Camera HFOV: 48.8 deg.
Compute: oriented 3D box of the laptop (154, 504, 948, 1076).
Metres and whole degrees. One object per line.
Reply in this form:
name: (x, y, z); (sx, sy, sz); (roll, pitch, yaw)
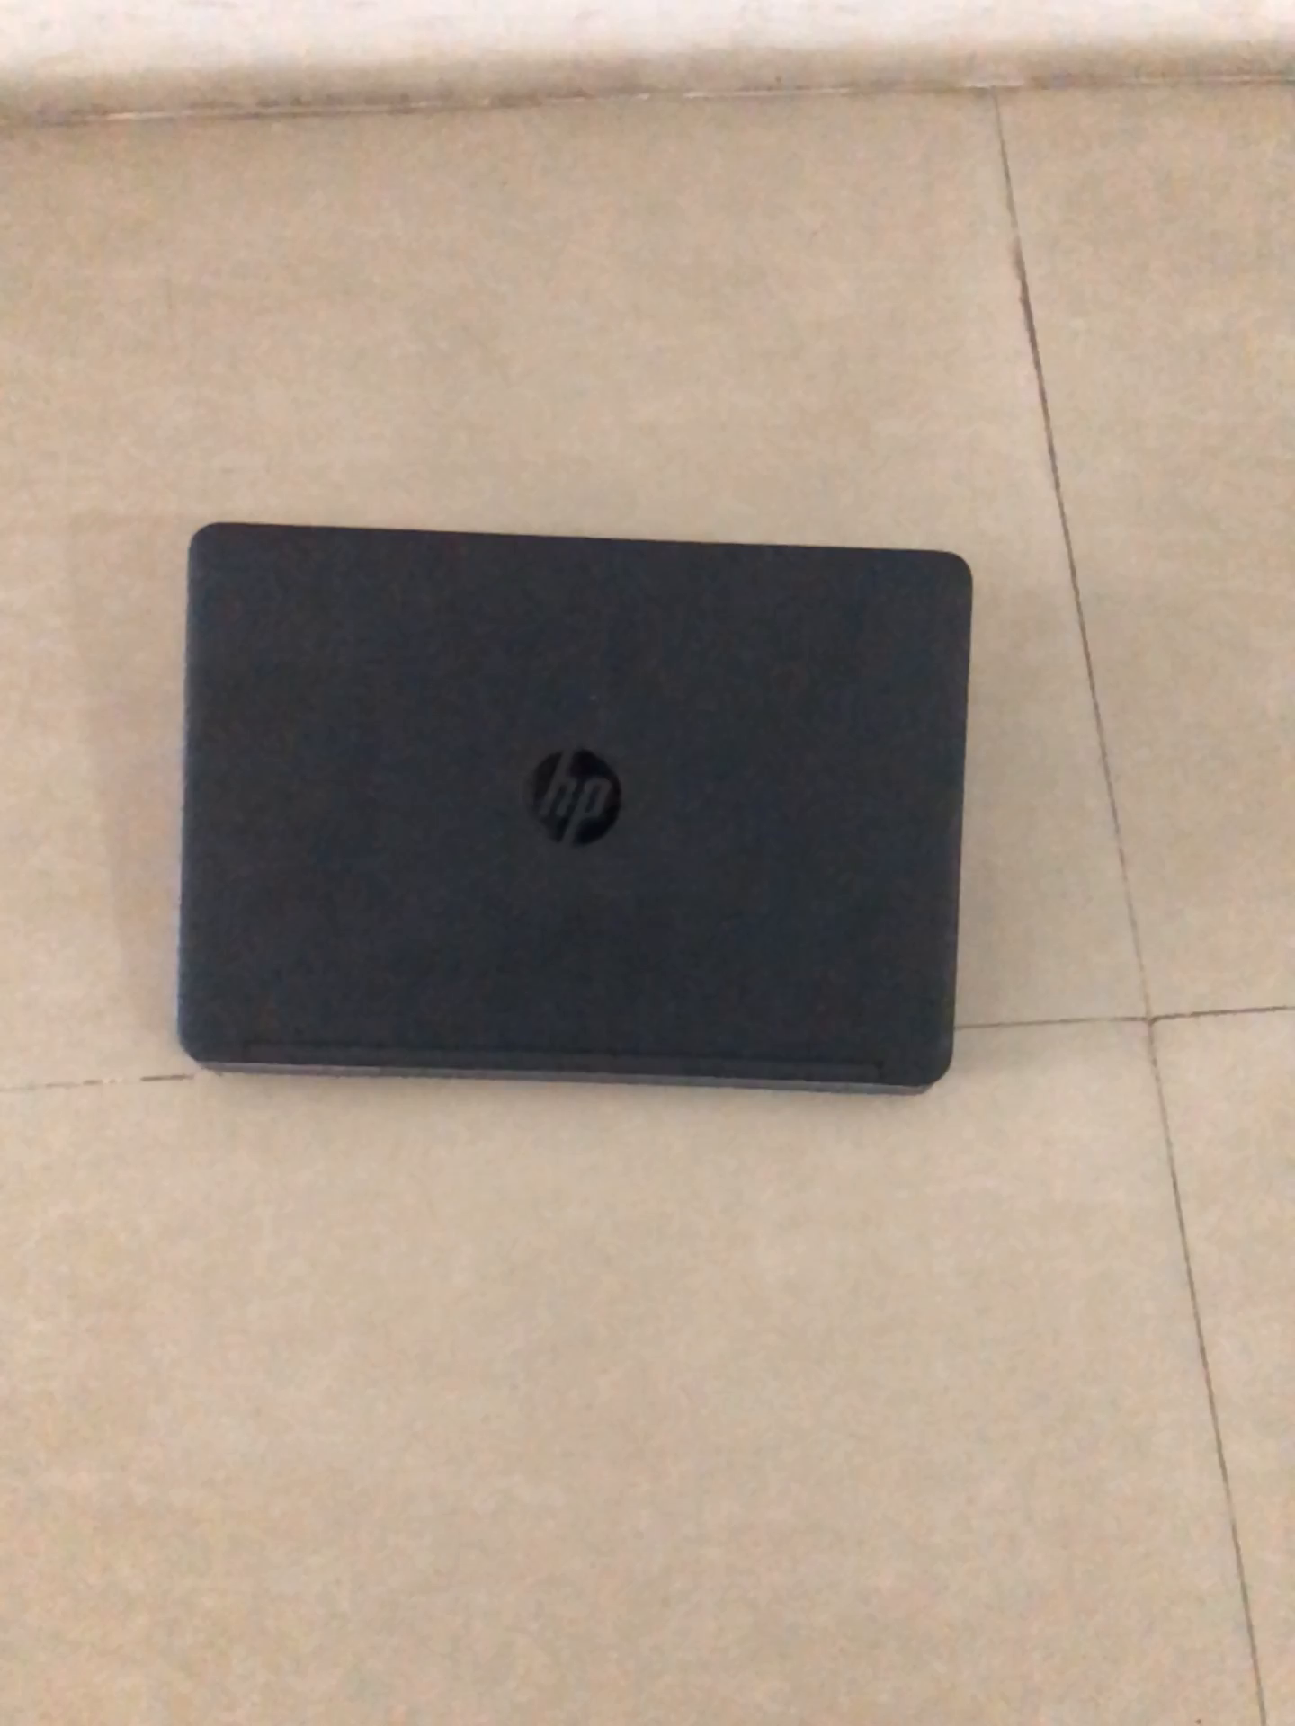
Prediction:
laptop: (-0.033, -0.028, 0.614); (0.304, 0.085, 0.214); (2, 76, -1)
